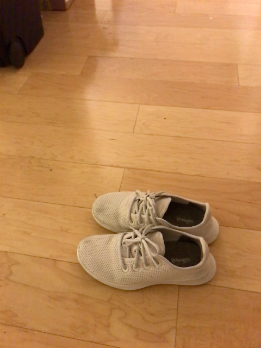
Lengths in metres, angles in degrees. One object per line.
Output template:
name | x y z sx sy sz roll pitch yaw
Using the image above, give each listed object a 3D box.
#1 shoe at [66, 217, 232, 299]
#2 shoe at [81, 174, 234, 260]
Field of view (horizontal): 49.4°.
shoe | 0.034 0.160 0.545 0.280 0.080 0.111 3 52 5
shoe | 0.058 0.087 0.597 0.290 0.080 0.111 8 53 9
